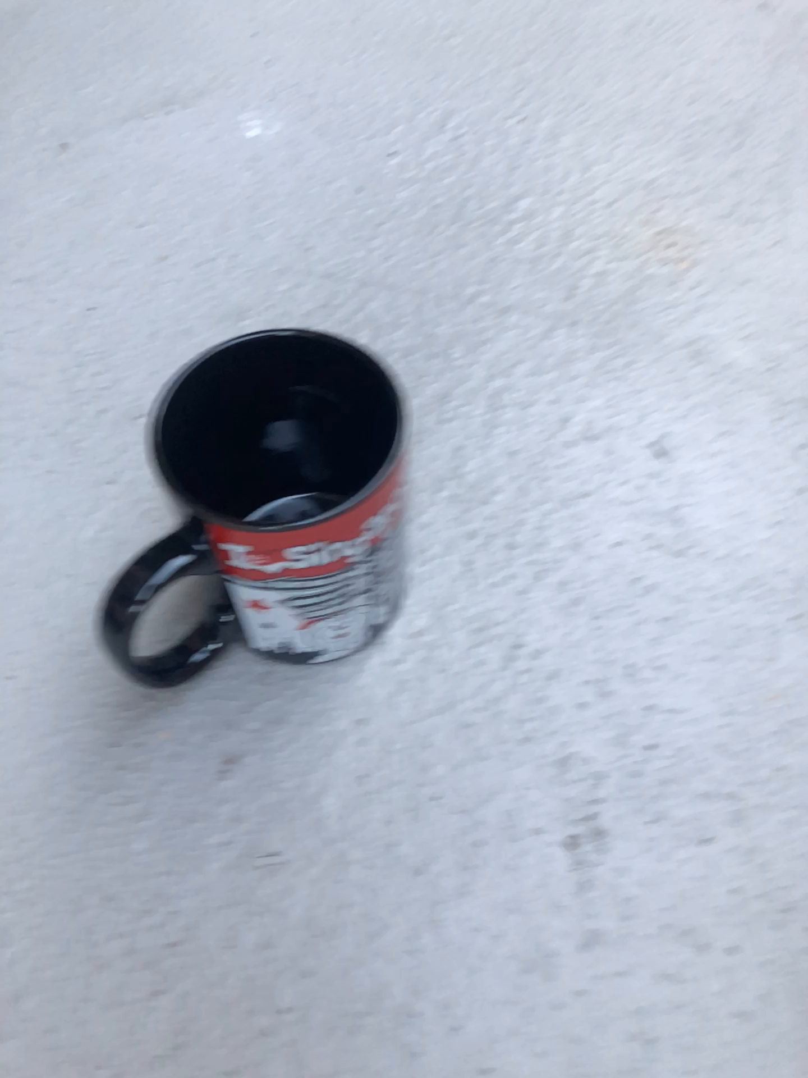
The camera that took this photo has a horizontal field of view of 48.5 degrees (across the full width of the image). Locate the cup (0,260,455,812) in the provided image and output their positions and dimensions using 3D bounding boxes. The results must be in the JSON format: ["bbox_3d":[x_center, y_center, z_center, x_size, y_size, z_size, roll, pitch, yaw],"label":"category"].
[{"bbox_3d":[-0.058,0.000,0.301,0.080,0.110,0.130,38,65,23],"label":"cup"}]
